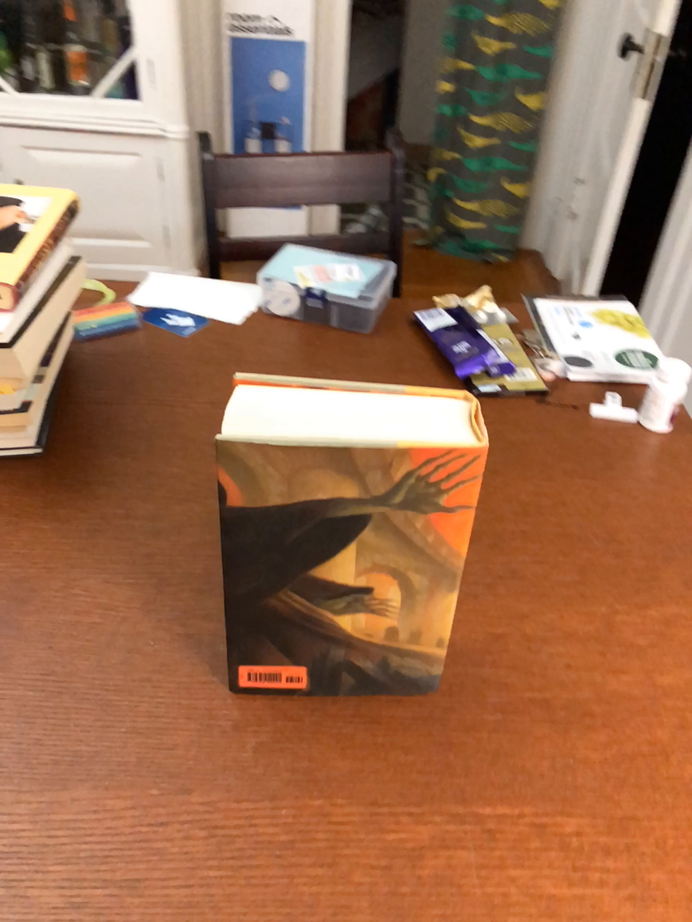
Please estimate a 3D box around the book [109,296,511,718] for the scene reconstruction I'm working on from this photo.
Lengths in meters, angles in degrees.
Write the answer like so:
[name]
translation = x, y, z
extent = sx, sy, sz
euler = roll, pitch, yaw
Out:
[book]
translation = -0.025, 0.049, 0.514
extent = 0.210, 0.298, 0.070
euler = 4, 37, -1
